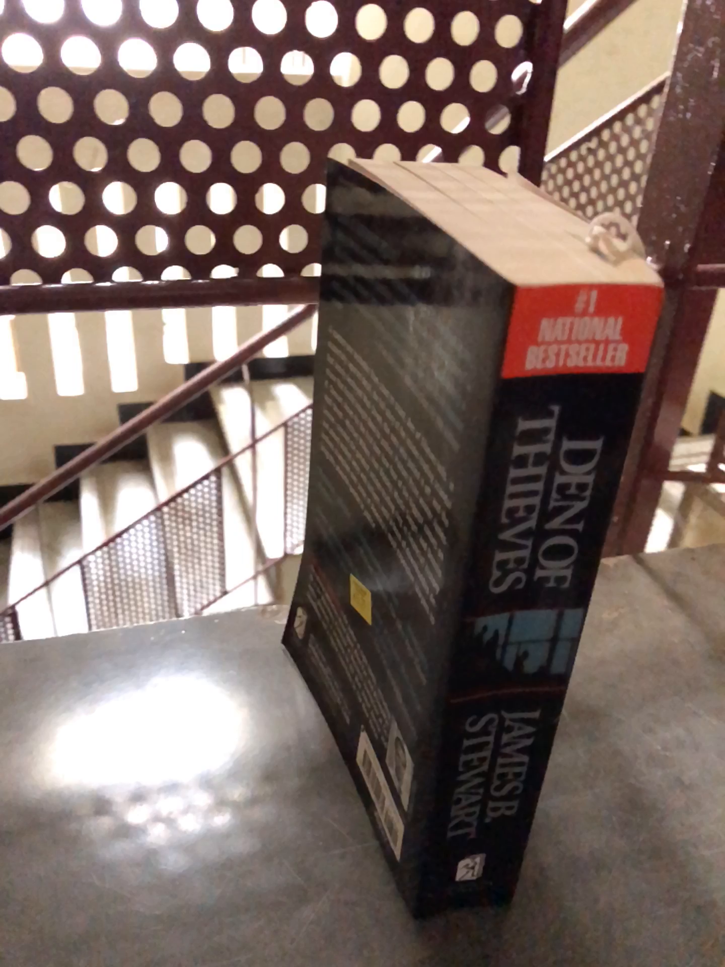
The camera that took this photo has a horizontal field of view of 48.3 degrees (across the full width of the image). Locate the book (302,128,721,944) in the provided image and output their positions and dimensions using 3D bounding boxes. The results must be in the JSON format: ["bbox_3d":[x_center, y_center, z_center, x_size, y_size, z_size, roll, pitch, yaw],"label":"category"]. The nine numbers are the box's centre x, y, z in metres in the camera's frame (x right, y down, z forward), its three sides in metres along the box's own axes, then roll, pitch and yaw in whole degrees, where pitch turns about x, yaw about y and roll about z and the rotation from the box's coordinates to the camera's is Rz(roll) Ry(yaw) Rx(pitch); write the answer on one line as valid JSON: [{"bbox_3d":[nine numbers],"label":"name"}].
[{"bbox_3d":[0.021,0.008,0.281,0.050,0.219,0.171,-4,31,-13],"label":"book"}]
